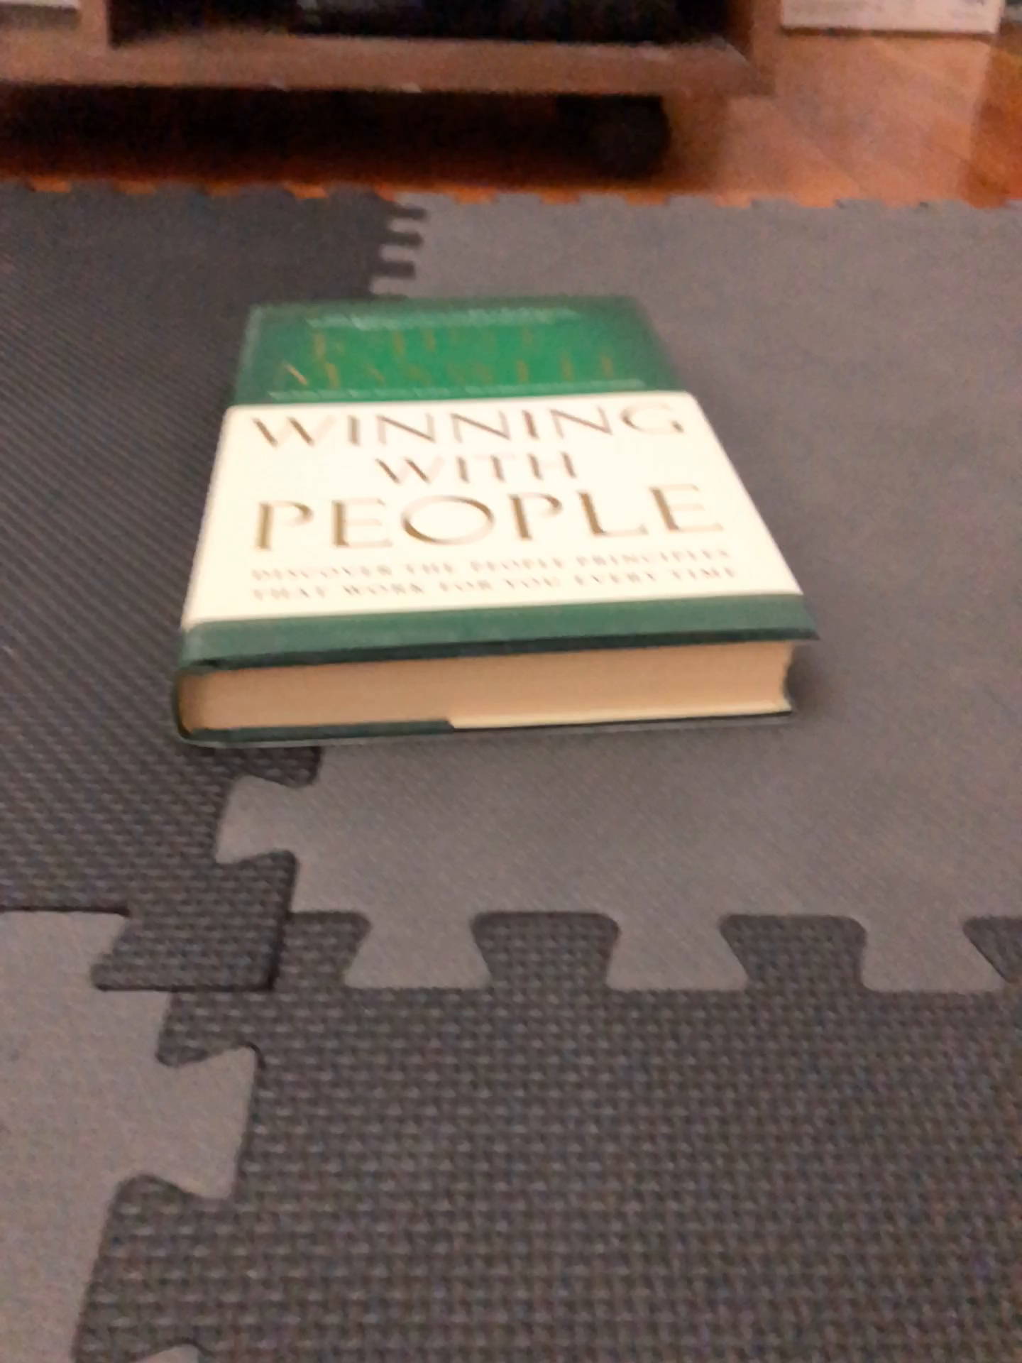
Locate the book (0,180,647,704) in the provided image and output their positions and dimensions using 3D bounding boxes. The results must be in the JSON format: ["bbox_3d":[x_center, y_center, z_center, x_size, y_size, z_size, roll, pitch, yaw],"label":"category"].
[{"bbox_3d":[-0.083,-0.097,0.338,0.200,0.030,0.292,-1,37,-3],"label":"book"}]
